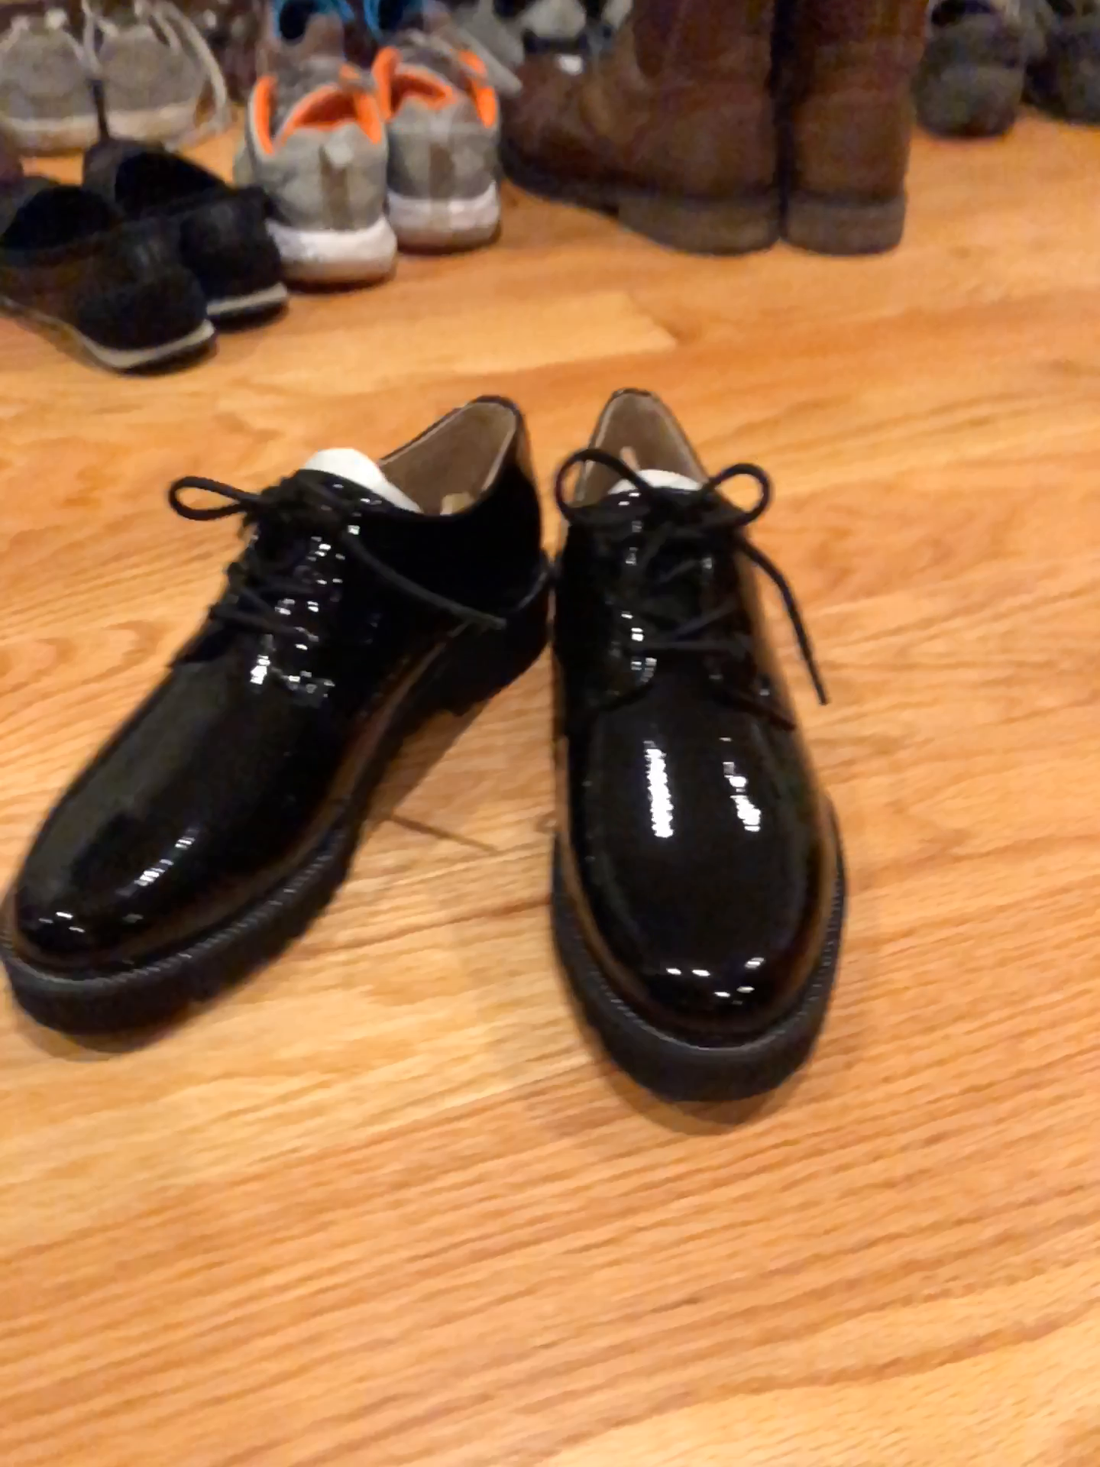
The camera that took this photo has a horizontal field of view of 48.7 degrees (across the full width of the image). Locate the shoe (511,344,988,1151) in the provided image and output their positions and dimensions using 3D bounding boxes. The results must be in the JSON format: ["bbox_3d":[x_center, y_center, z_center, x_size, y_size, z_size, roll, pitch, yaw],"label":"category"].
[{"bbox_3d":[0.041,-0.016,0.371,0.095,0.101,0.253,1,41,0],"label":"shoe"}]

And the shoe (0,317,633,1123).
[{"bbox_3d":[-0.080,-0.026,0.375,0.095,0.101,0.252,23,46,23],"label":"shoe"}]
